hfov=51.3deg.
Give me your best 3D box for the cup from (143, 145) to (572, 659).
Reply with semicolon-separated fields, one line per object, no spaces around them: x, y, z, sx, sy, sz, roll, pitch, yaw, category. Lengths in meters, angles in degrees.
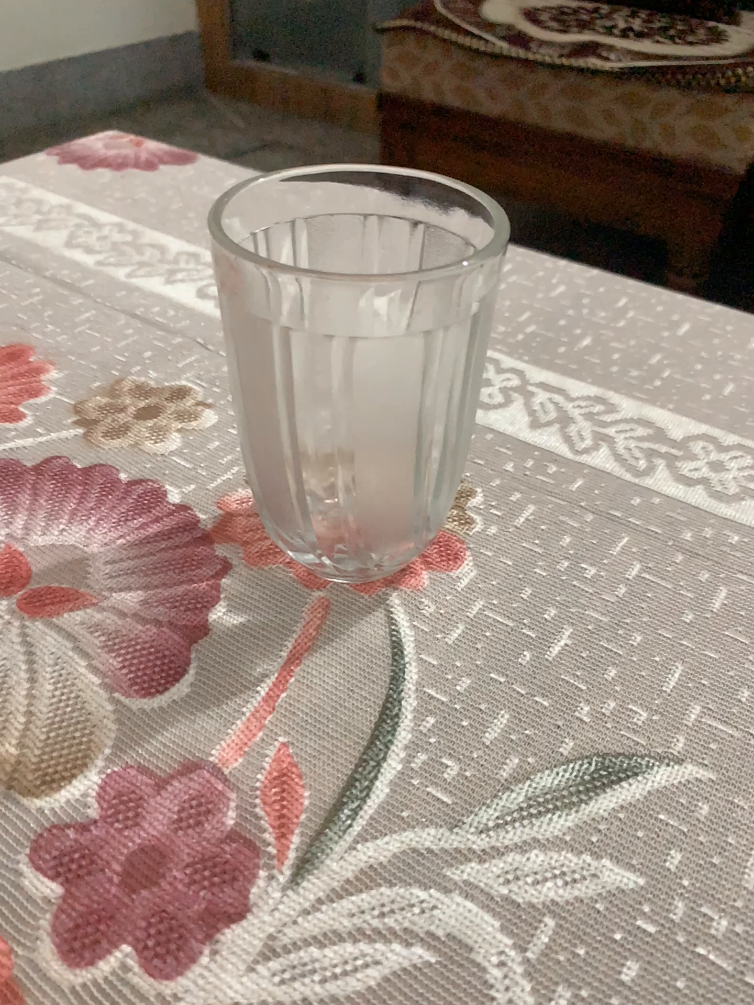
-0.008;-0.028;0.210;0.070;0.100;0.070;2;41;-2;cup
